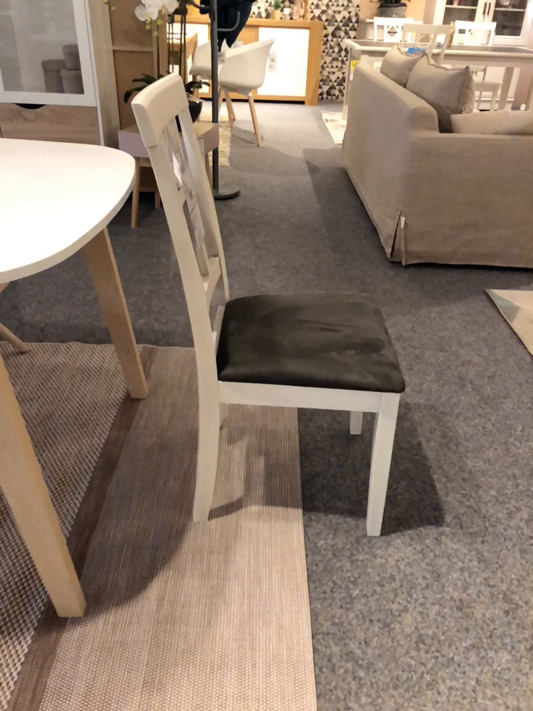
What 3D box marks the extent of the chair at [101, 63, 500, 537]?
[{"bbox_3d":[0.034,-0.118,1.250,0.560,0.855,0.513,2,31,-1],"label":"chair"}]
